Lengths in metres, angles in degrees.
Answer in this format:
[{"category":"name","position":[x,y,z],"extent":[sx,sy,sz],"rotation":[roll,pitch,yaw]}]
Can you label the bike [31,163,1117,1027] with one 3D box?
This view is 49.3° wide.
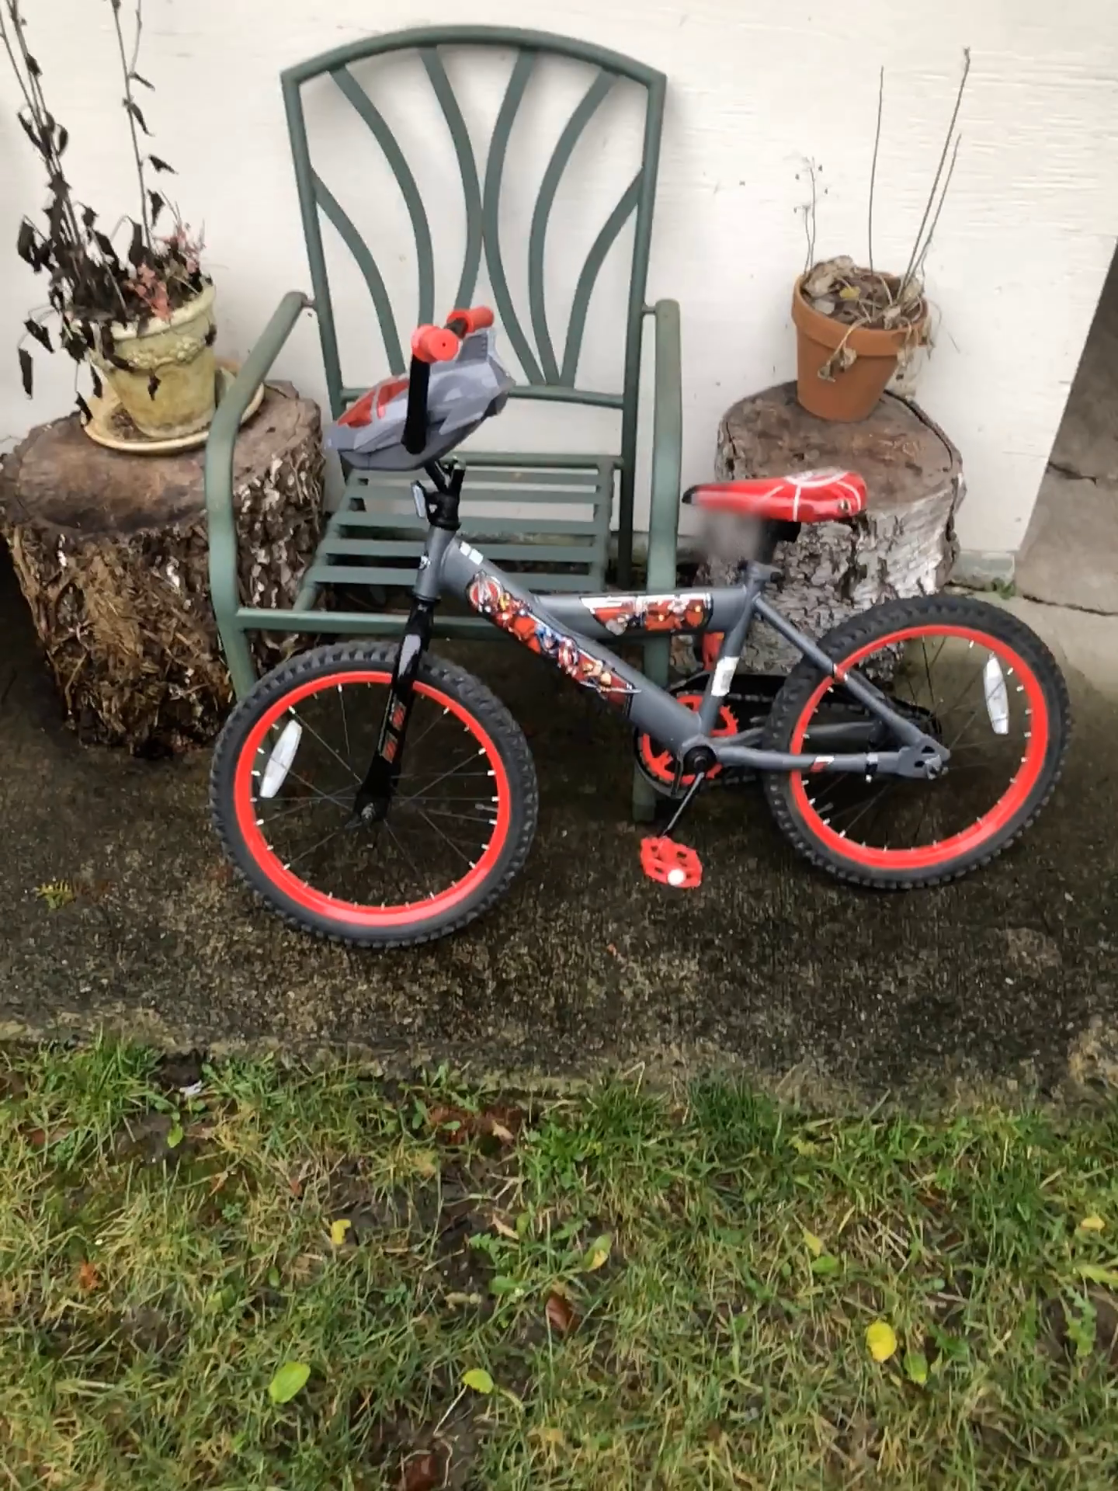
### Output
[{"category":"bike","position":[0.098,-0.181,1.634],"extent":[1.199,0.853,0.604],"rotation":[-4,44,-2]}]
